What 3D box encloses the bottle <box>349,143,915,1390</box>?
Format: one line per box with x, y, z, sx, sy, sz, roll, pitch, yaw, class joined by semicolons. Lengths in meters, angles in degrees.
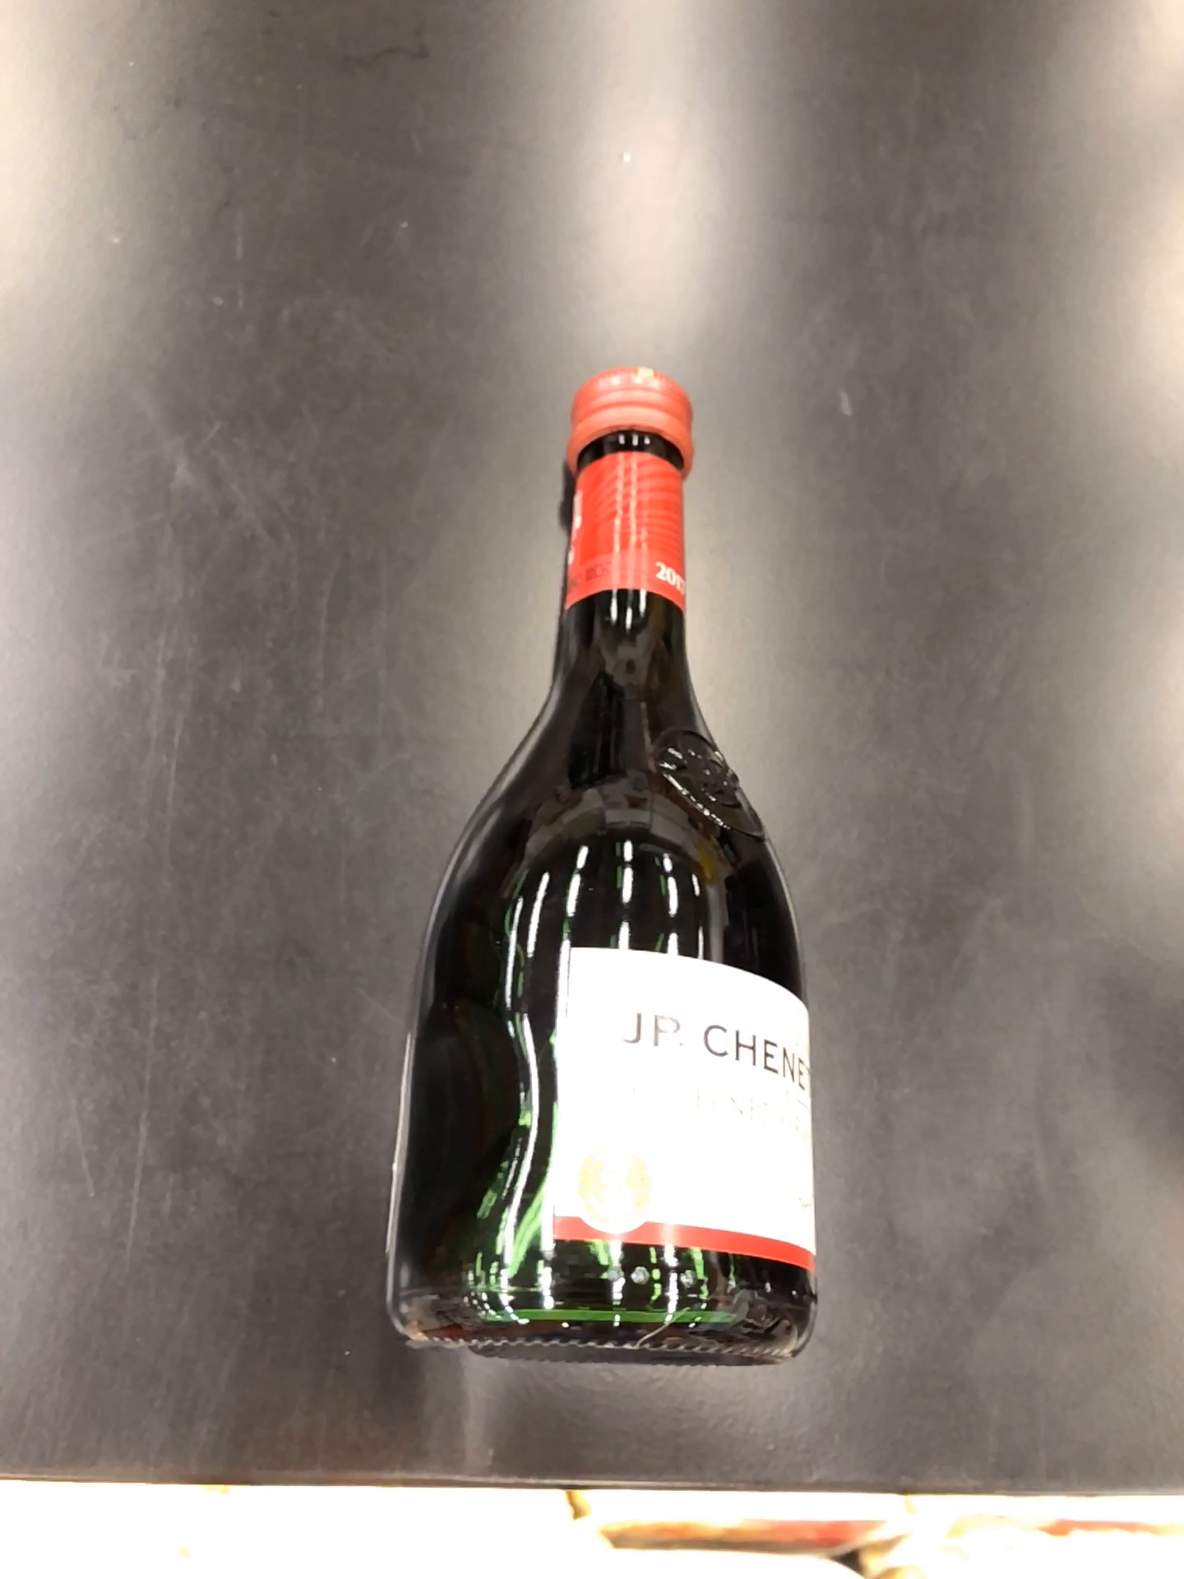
0.007;-0.009;0.228;0.070;0.060;0.200;3;68;-3;bottle
